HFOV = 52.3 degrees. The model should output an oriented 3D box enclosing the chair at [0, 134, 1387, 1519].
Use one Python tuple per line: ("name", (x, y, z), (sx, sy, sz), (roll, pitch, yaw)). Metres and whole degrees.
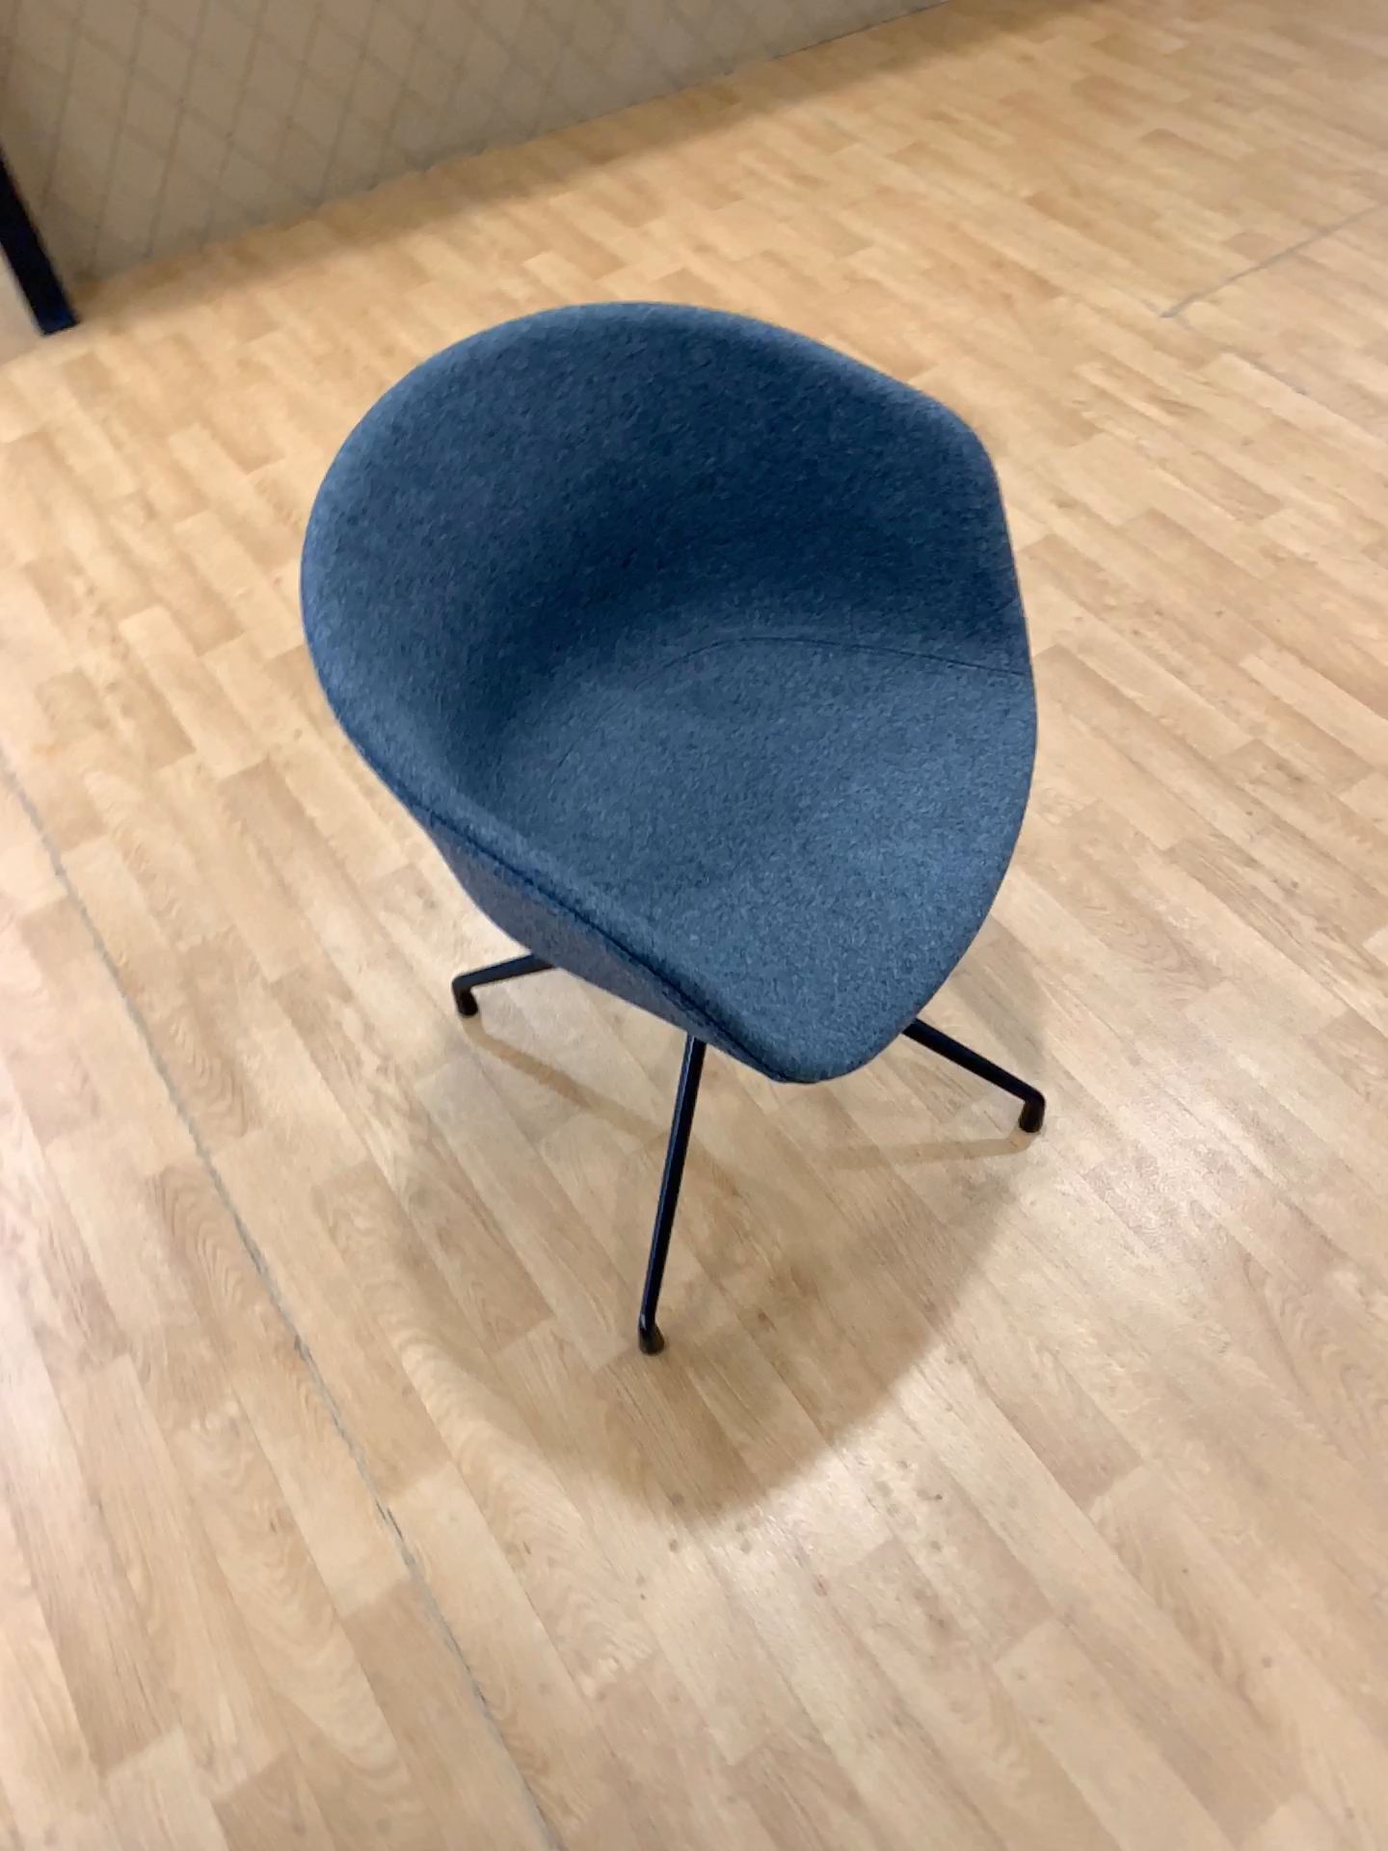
("chair", (0.037, -0.100, 1.209), (0.732, 0.685, 0.713), (23, 59, 21))
